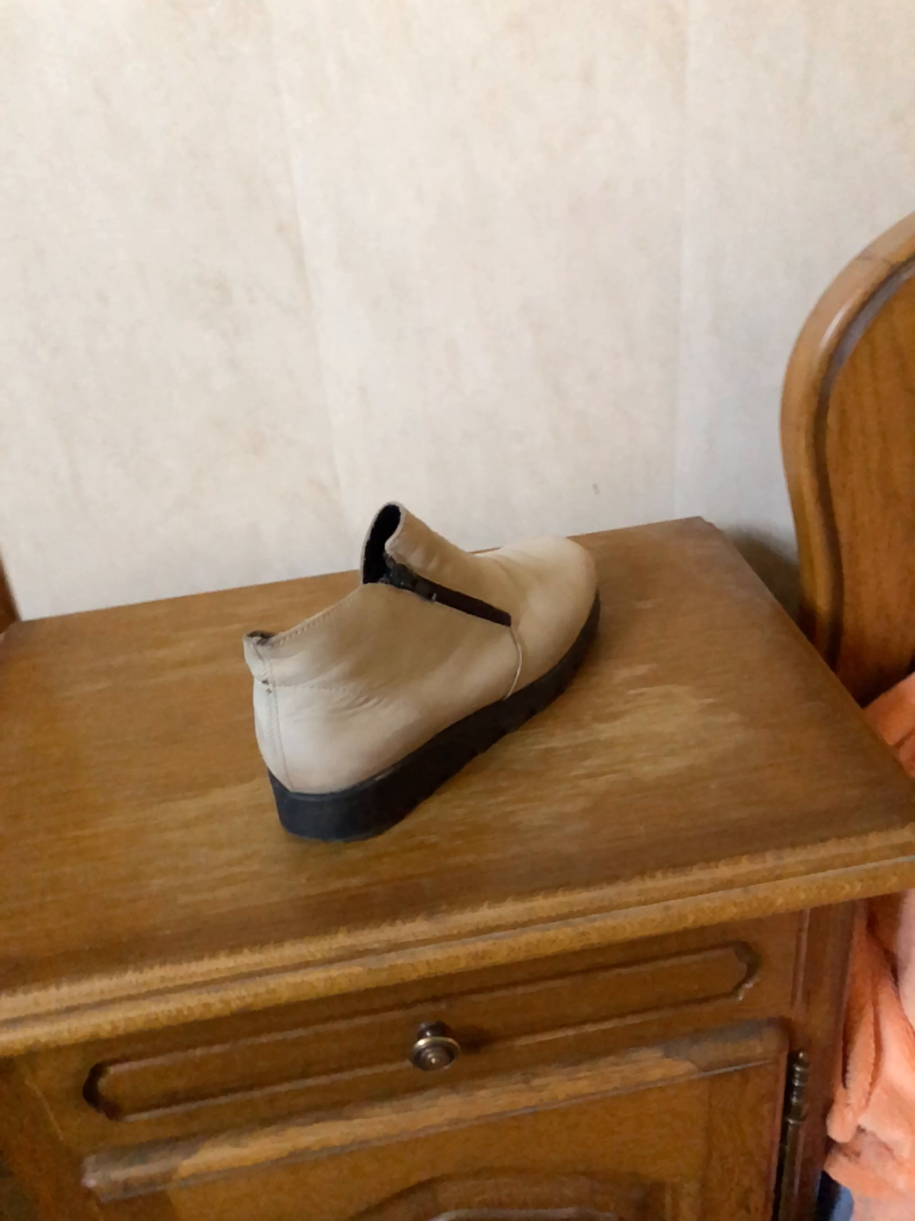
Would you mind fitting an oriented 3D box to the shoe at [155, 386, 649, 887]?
[{"bbox_3d":[-0.006,-0.008,0.530,0.100,0.129,0.272,16,36,32],"label":"shoe"}]
